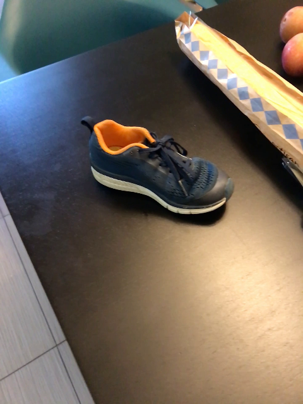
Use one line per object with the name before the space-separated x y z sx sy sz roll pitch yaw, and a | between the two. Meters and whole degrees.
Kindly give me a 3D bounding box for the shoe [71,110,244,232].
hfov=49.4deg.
shoe | 0.009 -0.044 0.417 0.186 0.072 0.084 17 55 18
